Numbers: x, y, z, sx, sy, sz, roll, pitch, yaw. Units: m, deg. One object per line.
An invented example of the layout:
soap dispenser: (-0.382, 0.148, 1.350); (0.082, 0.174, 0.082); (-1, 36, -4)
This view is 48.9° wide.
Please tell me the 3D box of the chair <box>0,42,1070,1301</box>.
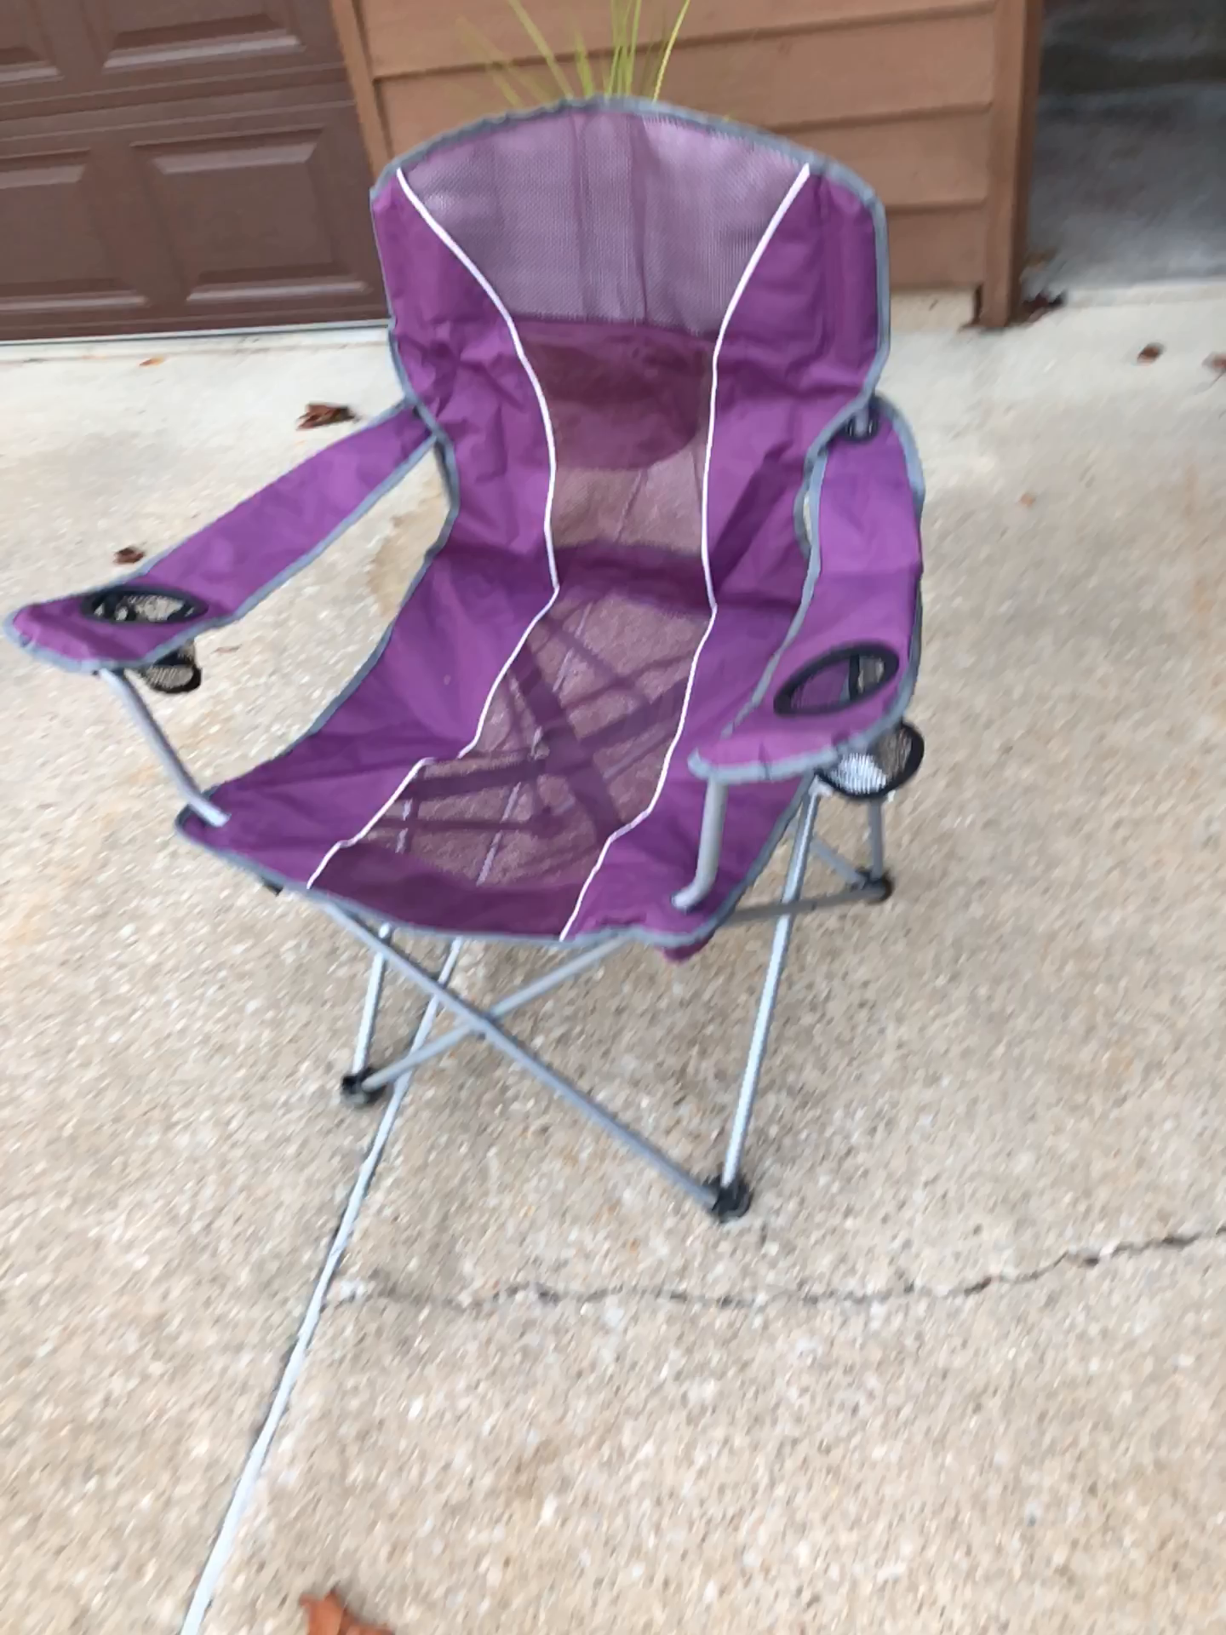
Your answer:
chair: (-0.032, -0.168, 1.360); (0.762, 0.878, 0.709); (11, 45, 24)
